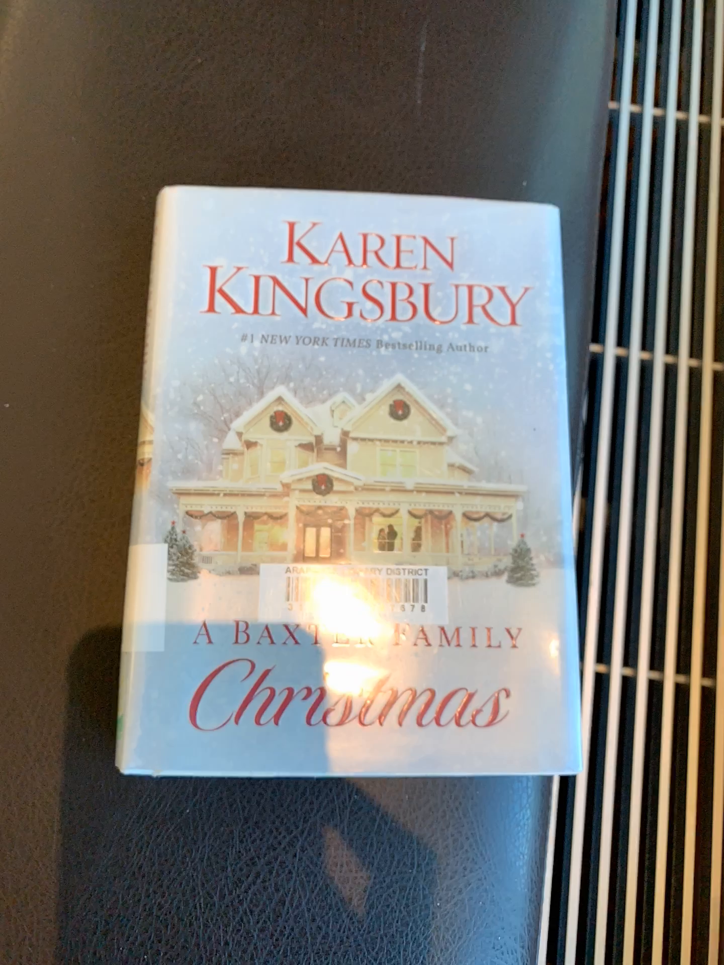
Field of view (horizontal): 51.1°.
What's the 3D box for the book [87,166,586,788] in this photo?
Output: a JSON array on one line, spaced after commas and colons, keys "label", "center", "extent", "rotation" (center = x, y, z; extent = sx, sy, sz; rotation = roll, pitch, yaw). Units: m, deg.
[{"label": "book", "center": [-0.005, -0.005, 0.231], "extent": [0.134, 0.023, 0.180], "rotation": [2, 80, -3]}]
